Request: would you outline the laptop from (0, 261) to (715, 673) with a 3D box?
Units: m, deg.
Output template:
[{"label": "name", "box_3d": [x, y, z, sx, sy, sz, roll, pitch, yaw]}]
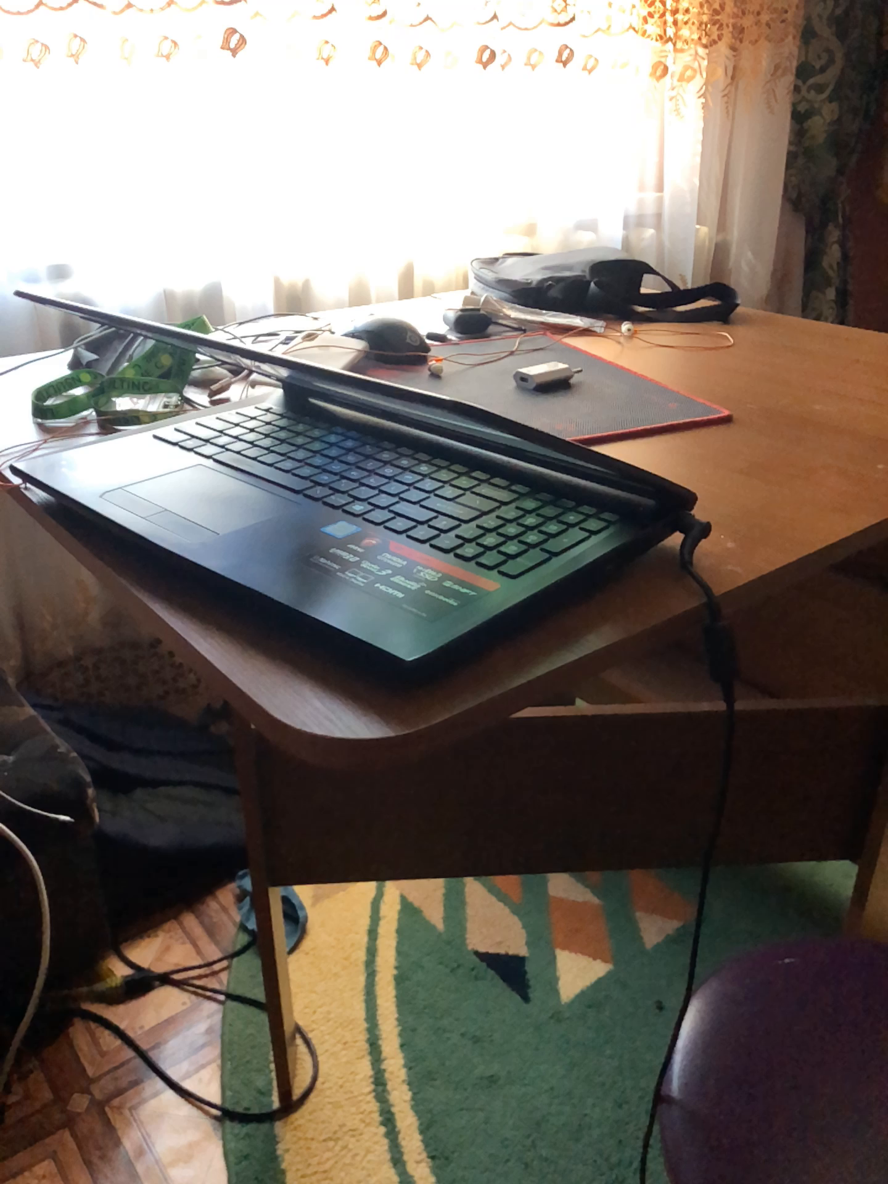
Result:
[{"label": "laptop", "box_3d": [-0.066, -0.112, 0.579, 0.239, 0.095, 0.373, -25, 35, -38]}]
